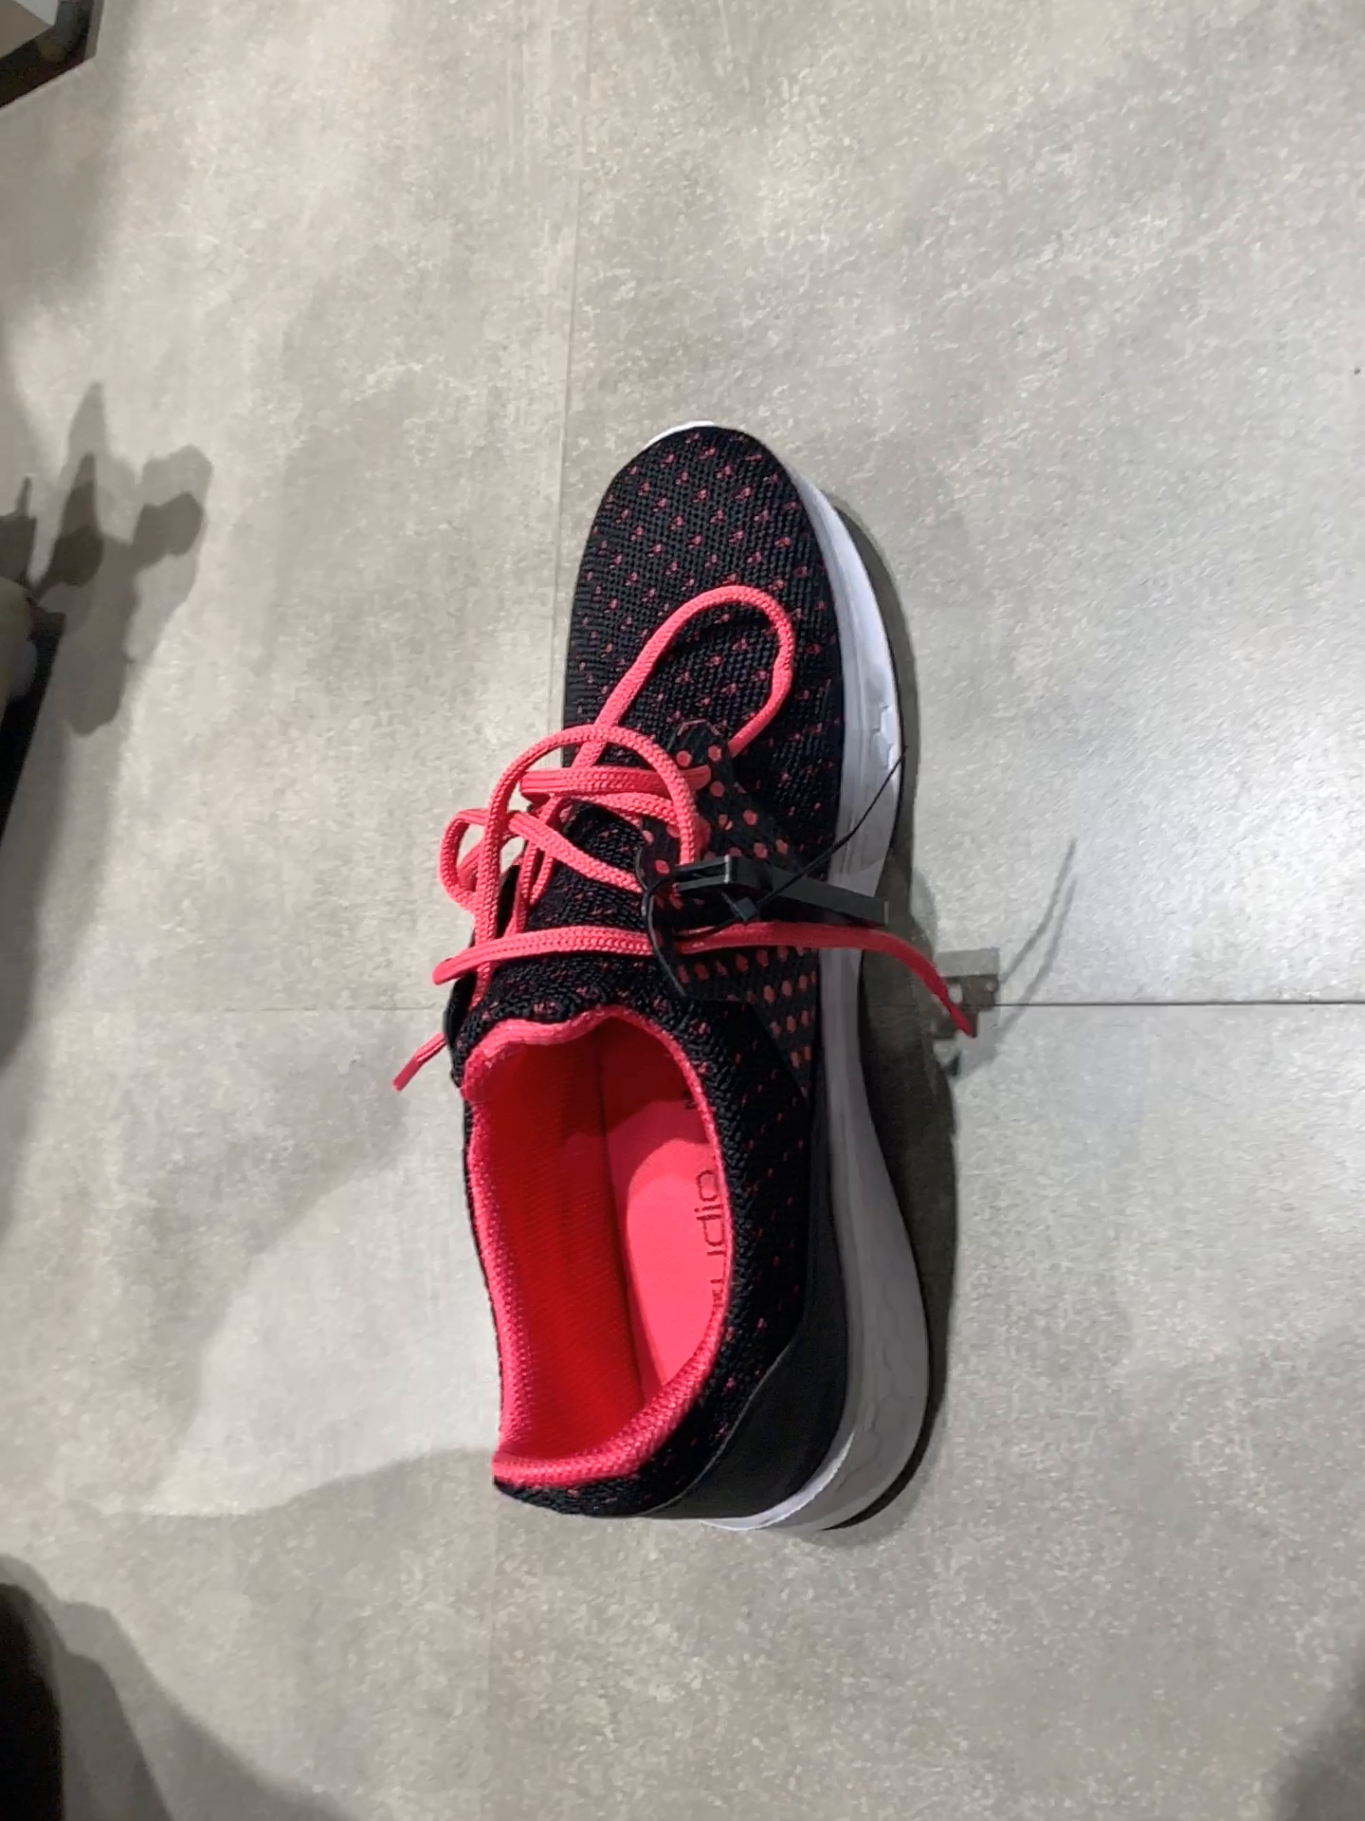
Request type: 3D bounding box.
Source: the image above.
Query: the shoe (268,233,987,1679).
[{"bbox_3d":[-0.013,0.011,0.326,0.110,0.109,0.263,-10,76,33],"label":"shoe"}]
